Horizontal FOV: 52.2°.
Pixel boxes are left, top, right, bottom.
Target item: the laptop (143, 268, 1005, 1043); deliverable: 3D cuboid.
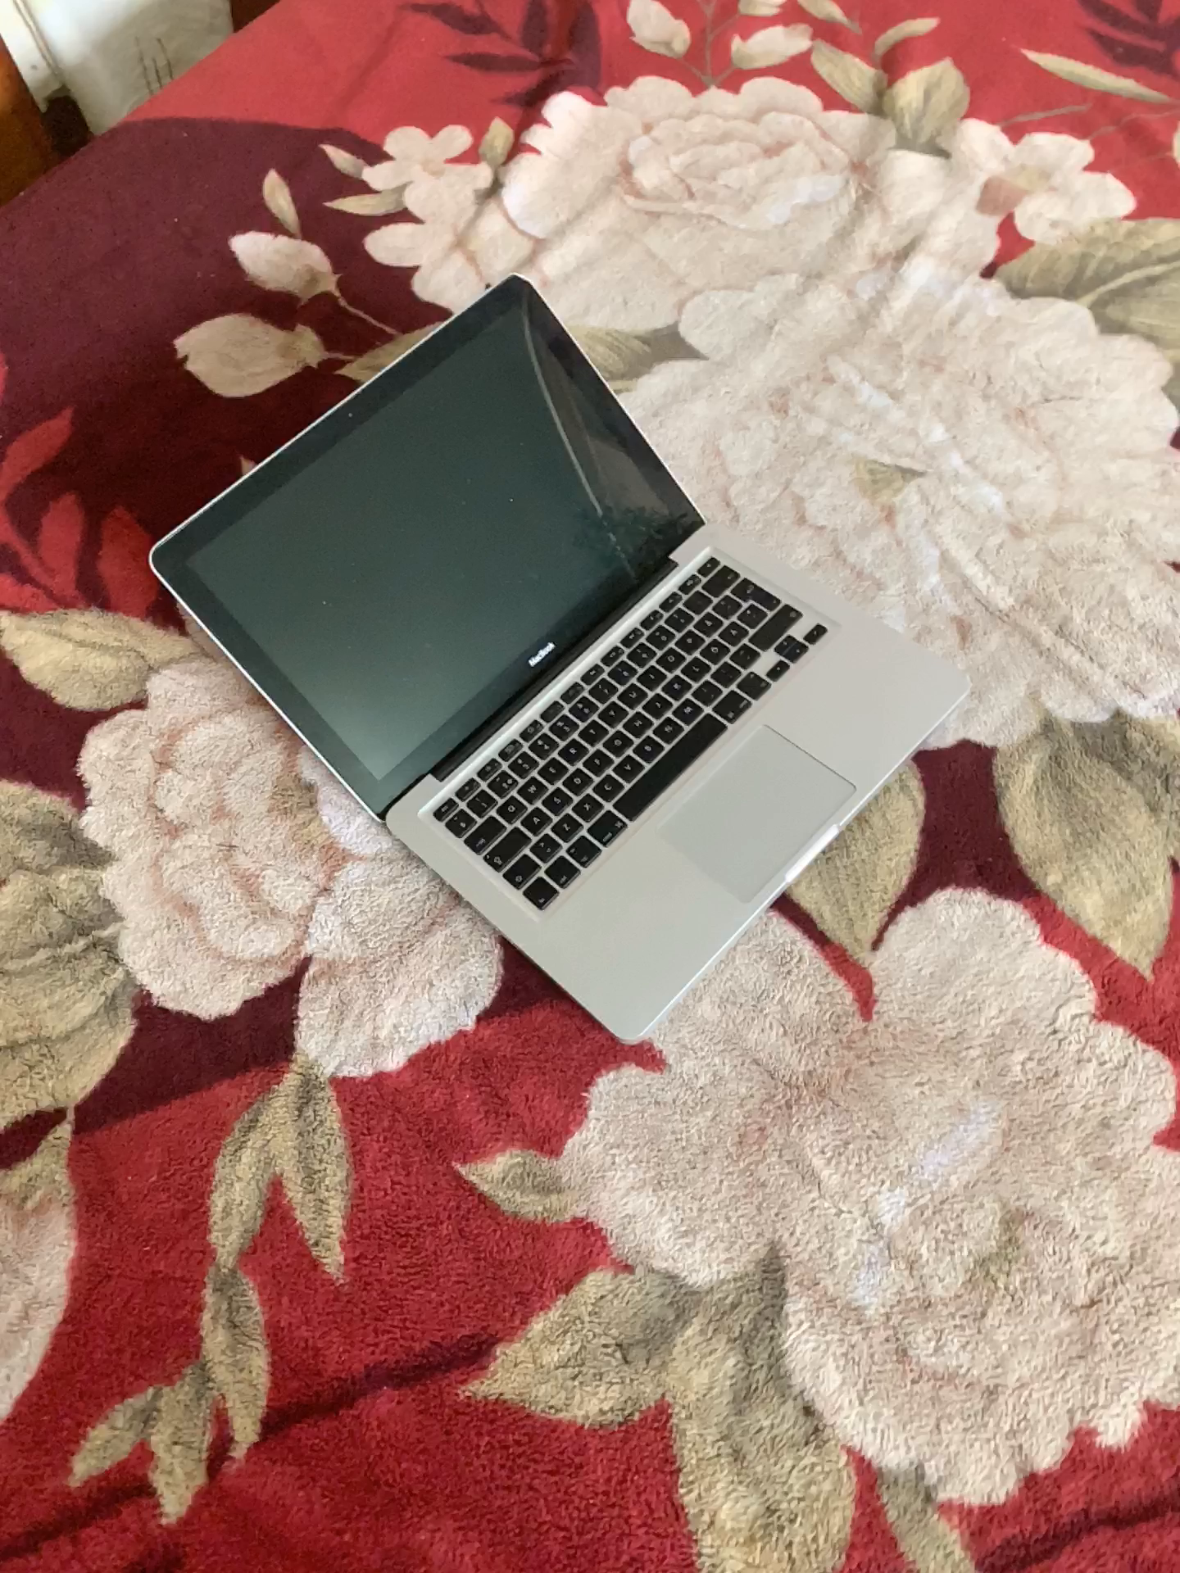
[{"bbox_3d":[-0.014,-0.101,0.745,0.388,0.116,0.317,39,73,22],"label":"laptop"}]
